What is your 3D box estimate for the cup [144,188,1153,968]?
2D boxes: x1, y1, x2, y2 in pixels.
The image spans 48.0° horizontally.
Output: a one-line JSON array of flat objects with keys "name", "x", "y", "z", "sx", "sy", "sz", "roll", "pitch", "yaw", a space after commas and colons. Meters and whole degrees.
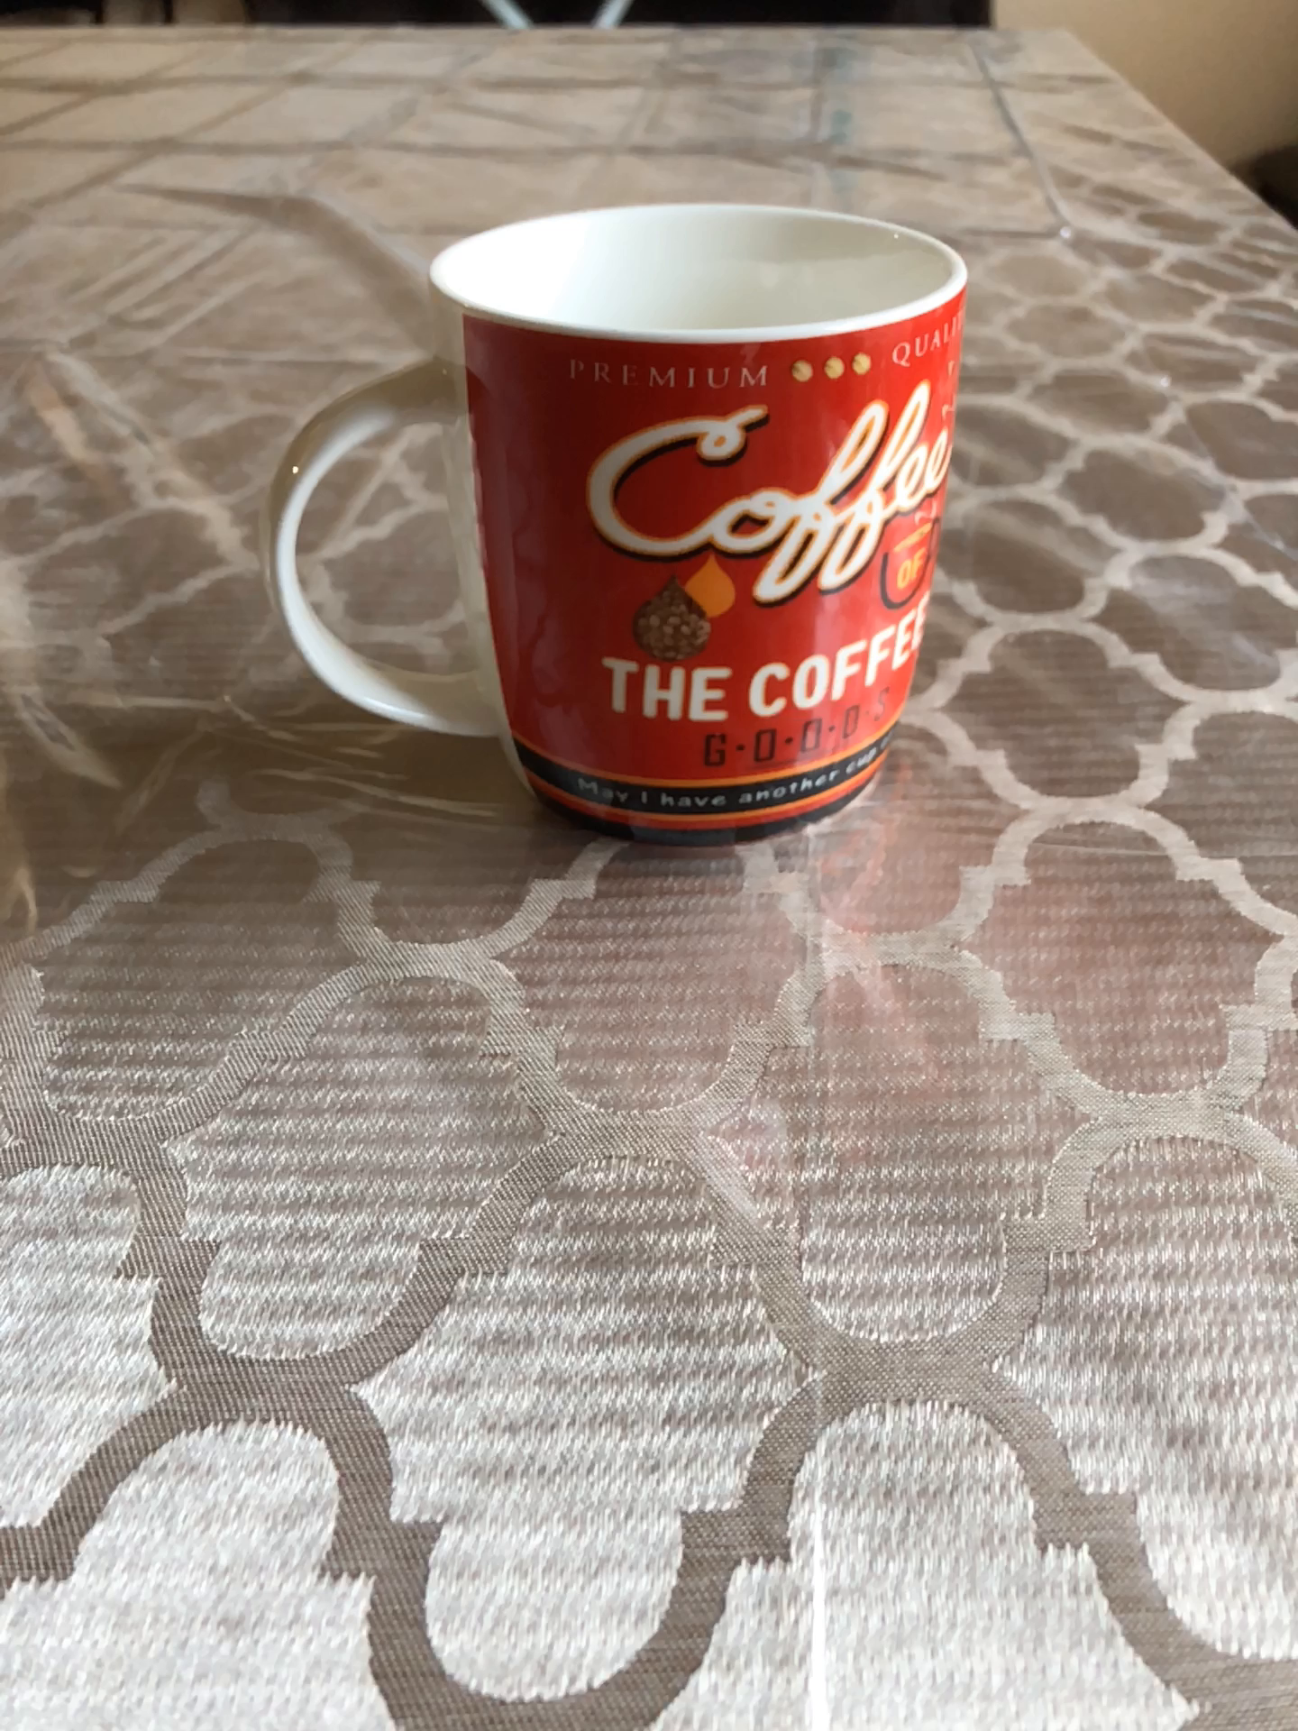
[{"name": "cup", "x": -0.008, "y": -0.064, "z": 0.265, "sx": 0.130, "sy": 0.080, "sz": 0.120, "roll": -1, "pitch": 35, "yaw": 0}]
